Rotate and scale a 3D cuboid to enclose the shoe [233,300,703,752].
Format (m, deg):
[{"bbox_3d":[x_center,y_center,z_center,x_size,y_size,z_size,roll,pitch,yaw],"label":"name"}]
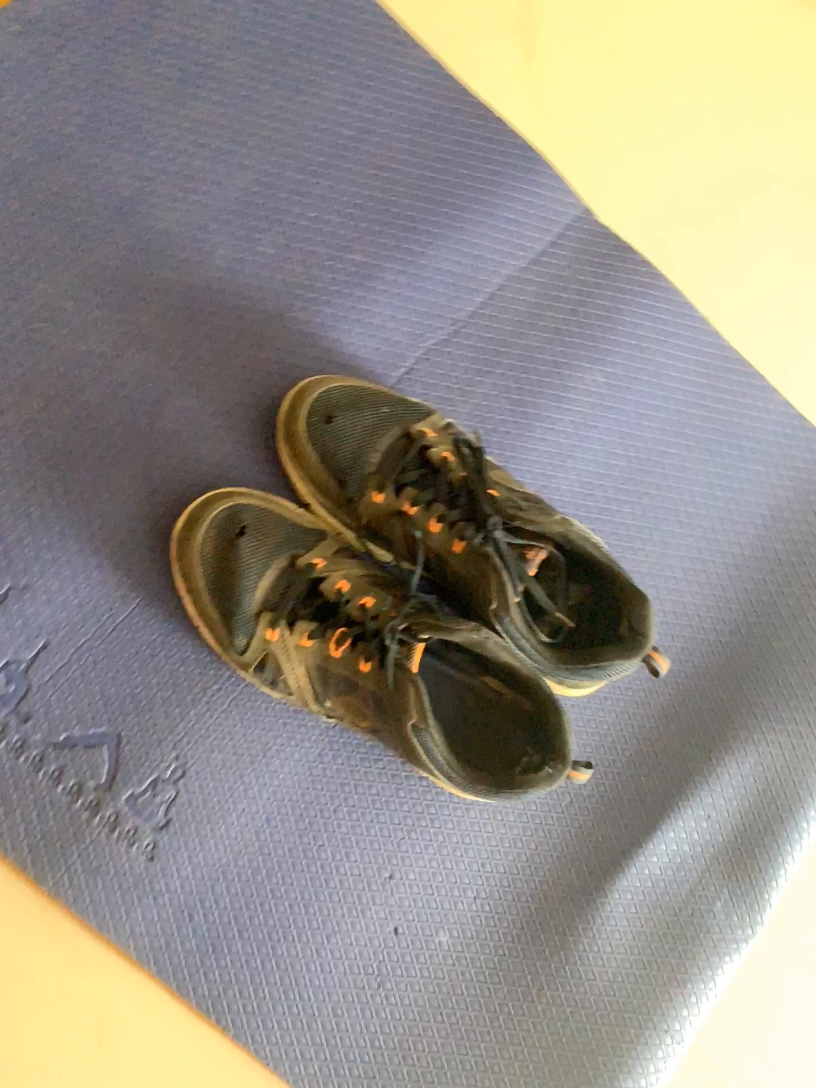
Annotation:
[{"bbox_3d":[0.036,-0.006,0.580,0.320,0.100,0.100,42,80,-5],"label":"shoe"}]

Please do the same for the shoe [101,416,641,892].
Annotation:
[{"bbox_3d":[-0.023,0.072,0.527,0.310,0.100,0.110,37,73,-6],"label":"shoe"}]
